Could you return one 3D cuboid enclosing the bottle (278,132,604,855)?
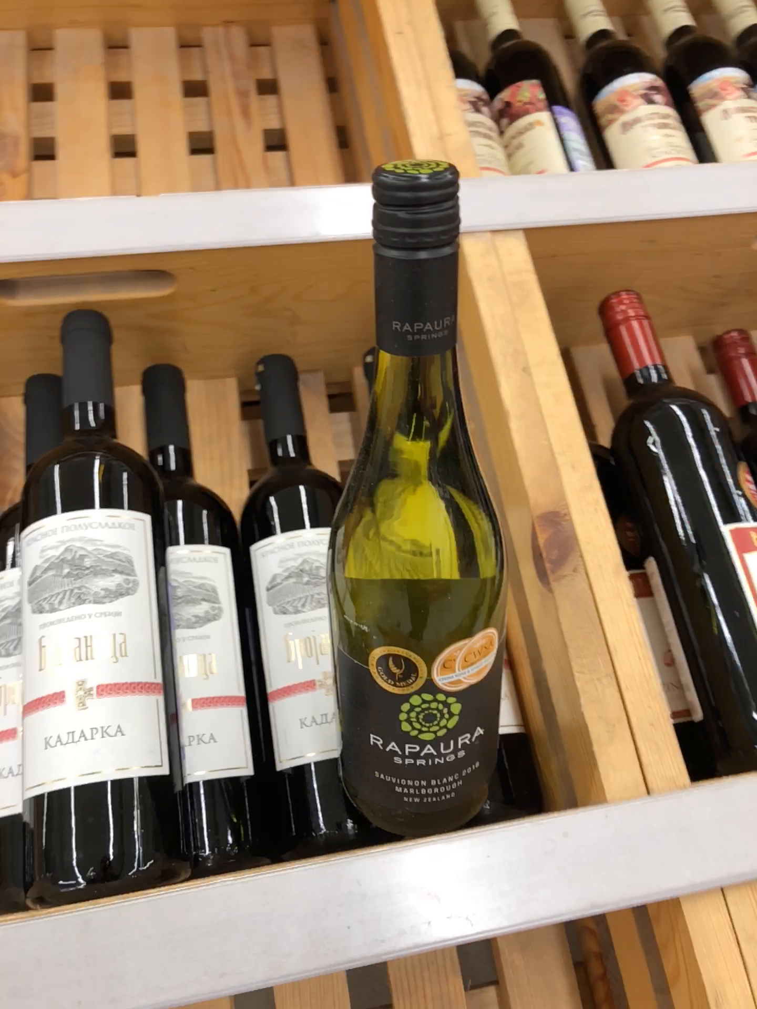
[{"bbox_3d":[0.016,0.010,0.348,0.090,0.288,0.090,-1,32,1],"label":"bottle"}]
